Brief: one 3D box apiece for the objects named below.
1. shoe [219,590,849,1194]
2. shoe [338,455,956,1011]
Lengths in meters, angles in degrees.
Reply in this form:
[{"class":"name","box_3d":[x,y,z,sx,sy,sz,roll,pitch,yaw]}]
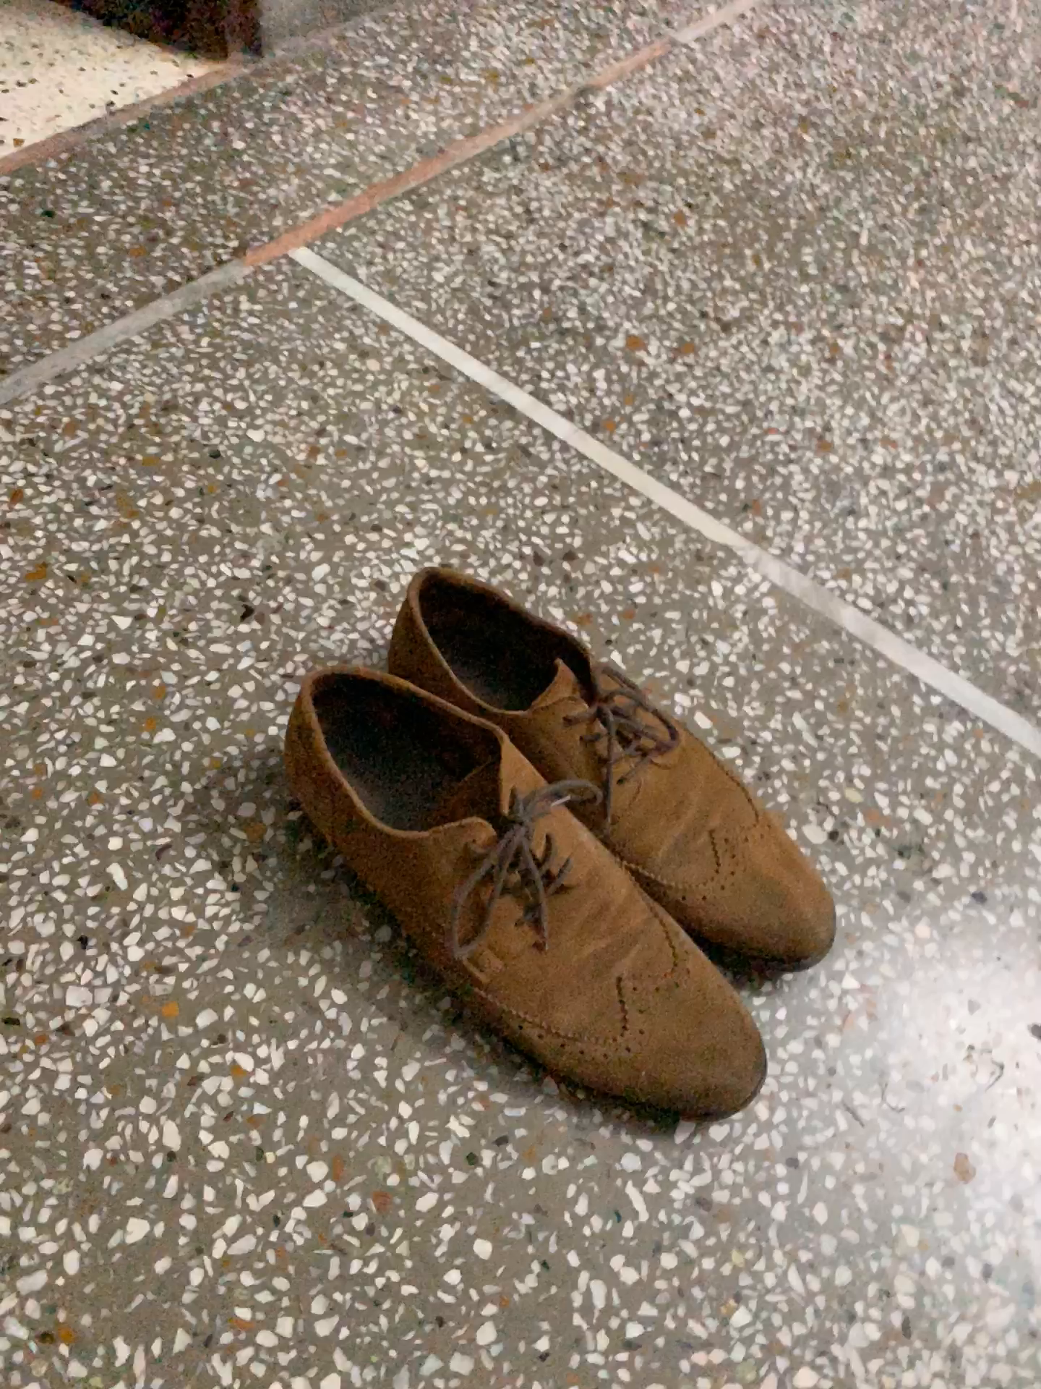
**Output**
[{"class":"shoe","box_3d":[-0.006,0.096,0.551,0.310,0.110,0.100,39,61,16]},{"class":"shoe","box_3d":[0.052,0.016,0.576,0.310,0.110,0.100,36,60,15]}]
